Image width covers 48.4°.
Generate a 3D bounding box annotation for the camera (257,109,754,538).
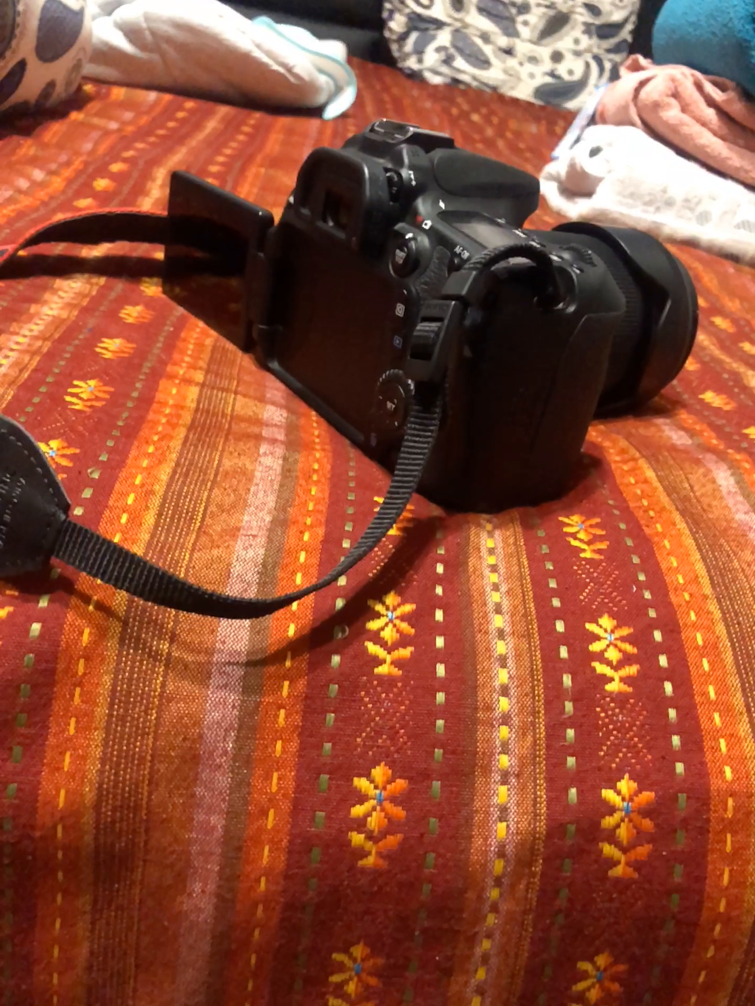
[{"bbox_3d":[0.064,-0.082,0.333,0.171,0.099,0.131,-15,40,-36],"label":"camera"}]
